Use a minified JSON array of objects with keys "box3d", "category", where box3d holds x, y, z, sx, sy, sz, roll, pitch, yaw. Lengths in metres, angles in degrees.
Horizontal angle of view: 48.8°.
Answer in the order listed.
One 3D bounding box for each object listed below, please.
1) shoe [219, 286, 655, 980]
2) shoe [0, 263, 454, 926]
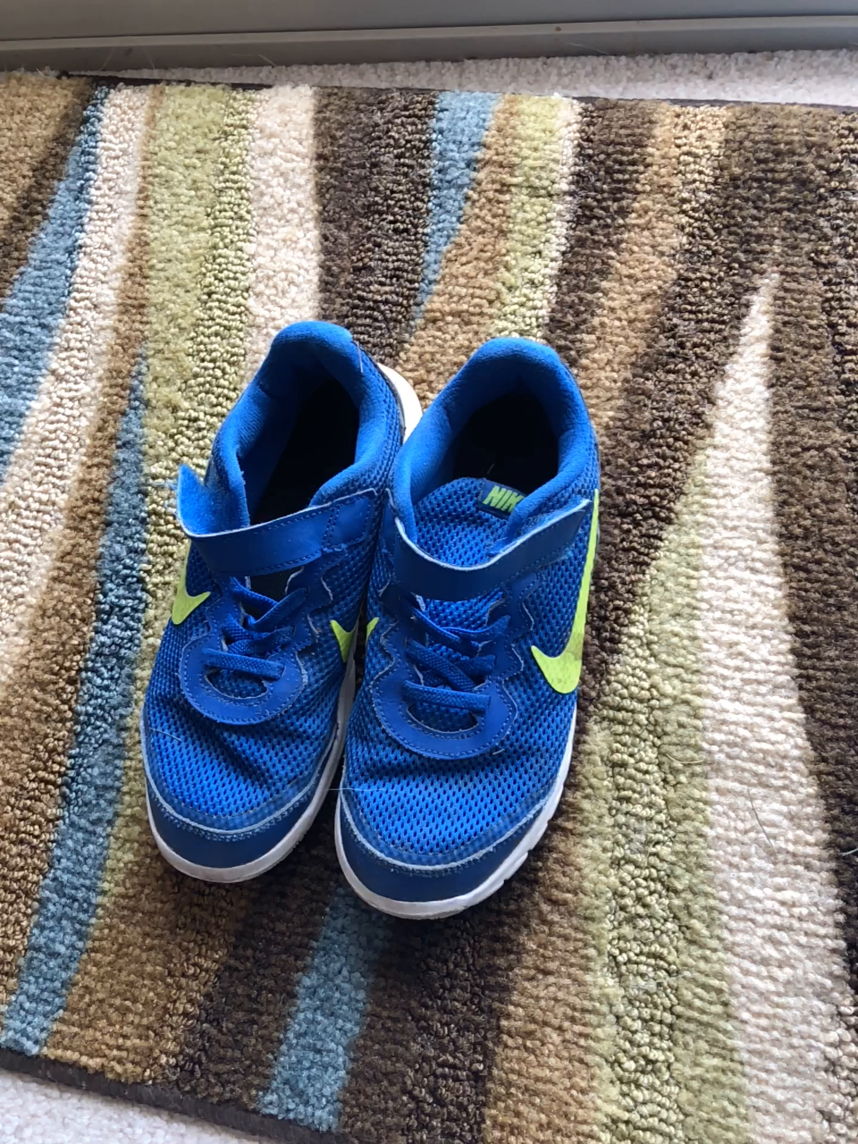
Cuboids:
[{"box3d":[0.013,0.017,0.363,0.103,0.075,0.231,10,75,11],"category":"shoe"},{"box3d":[-0.075,0.005,0.381,0.102,0.075,0.233,14,75,12],"category":"shoe"}]
